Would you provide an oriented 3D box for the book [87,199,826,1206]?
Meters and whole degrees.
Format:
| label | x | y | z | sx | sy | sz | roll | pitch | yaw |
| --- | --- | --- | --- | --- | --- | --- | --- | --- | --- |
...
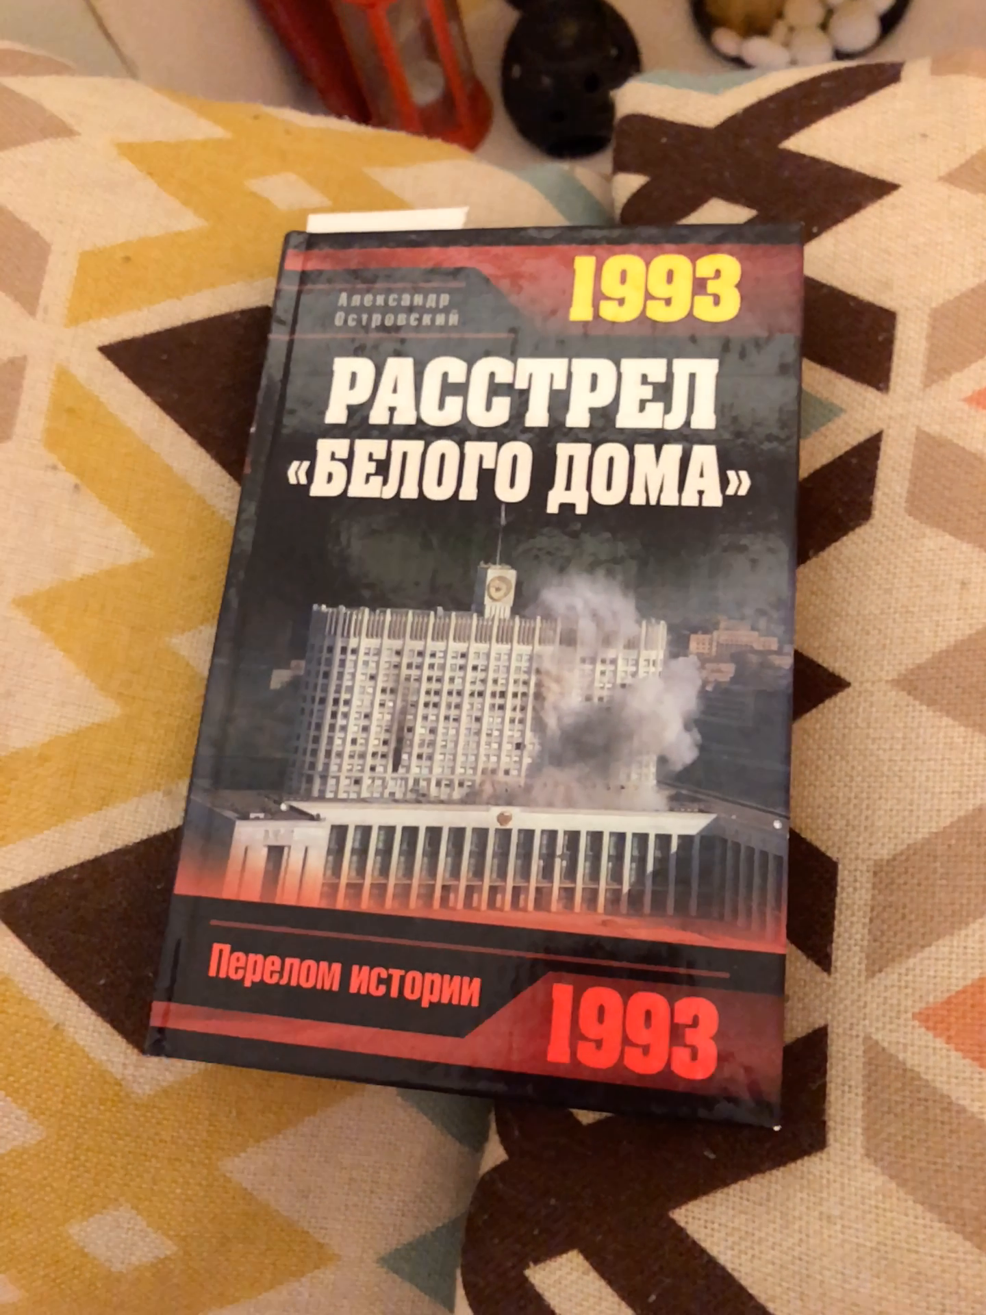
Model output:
| label | x | y | z | sx | sy | sz | roll | pitch | yaw |
| --- | --- | --- | --- | --- | --- | --- | --- | --- | --- |
| book | 0.000 | -0.003 | 0.251 | 0.140 | 0.030 | 0.210 | 3 | 74 | 12 |
